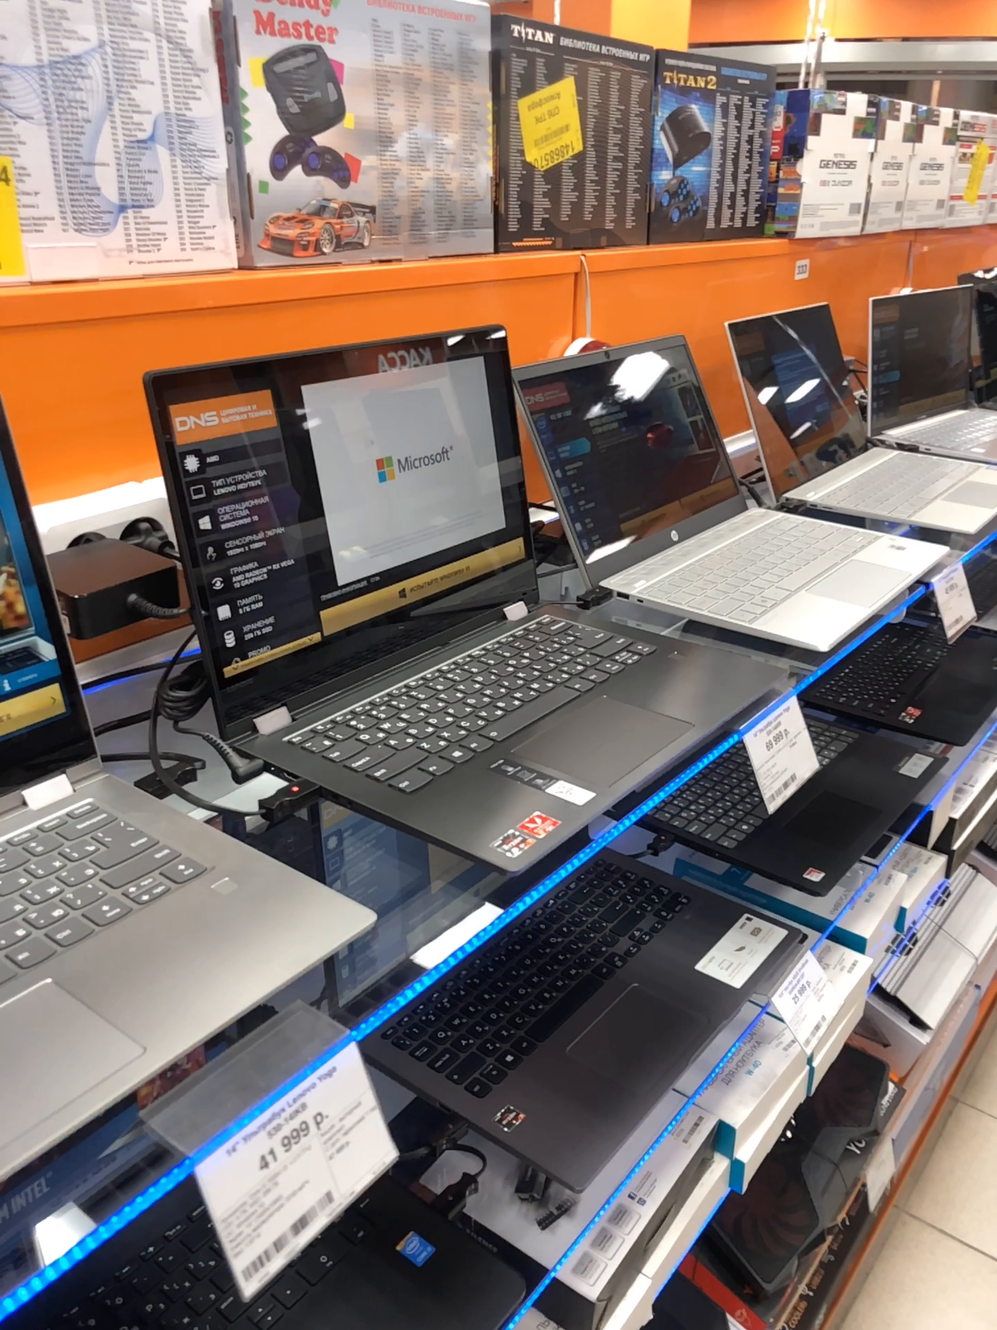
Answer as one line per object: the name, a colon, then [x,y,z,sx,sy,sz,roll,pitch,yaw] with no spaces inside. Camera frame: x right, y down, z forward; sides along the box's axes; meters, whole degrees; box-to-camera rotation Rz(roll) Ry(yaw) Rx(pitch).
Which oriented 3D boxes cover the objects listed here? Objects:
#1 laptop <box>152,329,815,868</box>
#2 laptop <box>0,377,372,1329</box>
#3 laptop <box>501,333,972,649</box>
laptop: [0.004,-0.078,0.693,0.255,0.215,0.321,18,28,33]
laptop: [-0.256,0.022,0.422,0.286,0.203,0.285,18,26,29]
laptop: [0.218,-0.184,0.999,0.310,0.161,0.316,20,30,33]
